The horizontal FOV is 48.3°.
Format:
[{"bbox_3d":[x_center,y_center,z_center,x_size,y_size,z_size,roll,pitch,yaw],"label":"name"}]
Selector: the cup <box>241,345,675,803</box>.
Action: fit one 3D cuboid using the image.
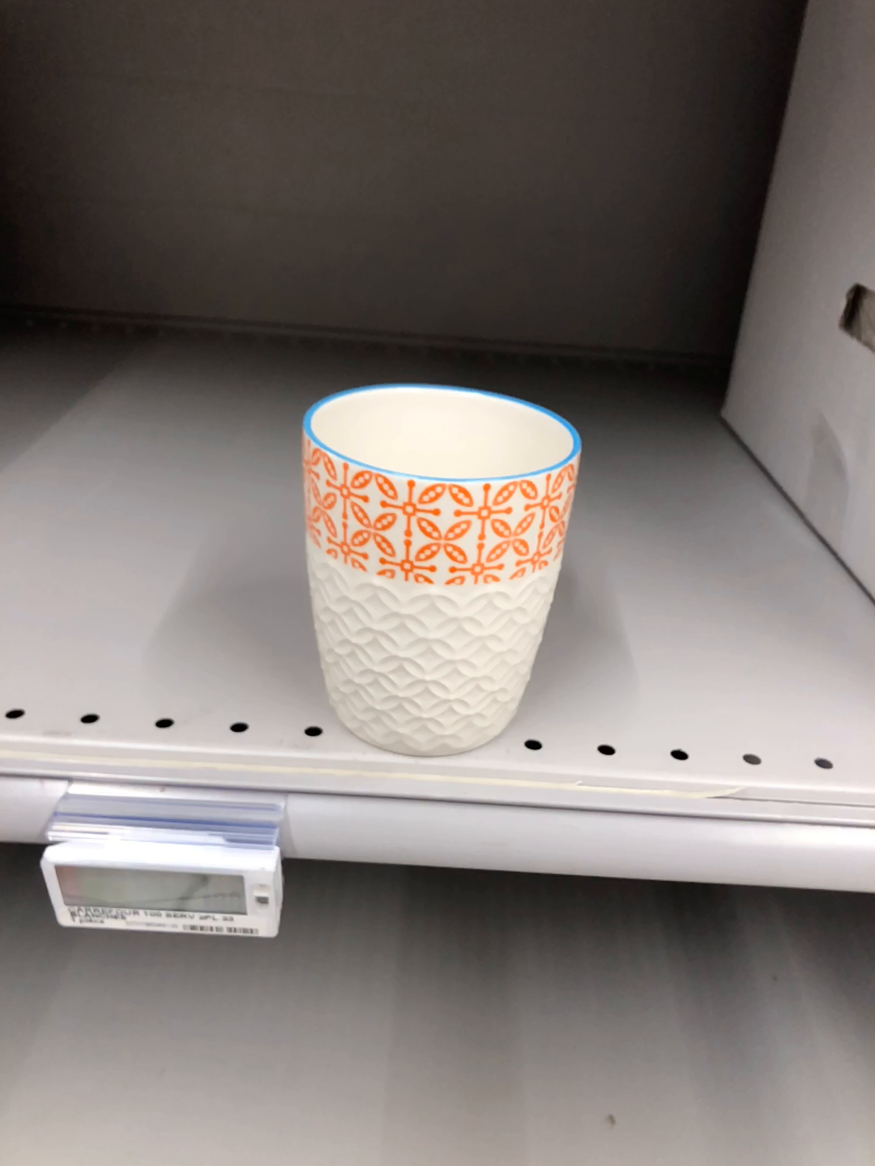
[{"bbox_3d":[0.009,-0.013,0.329,0.091,0.095,0.118,19,31,25],"label":"cup"}]
